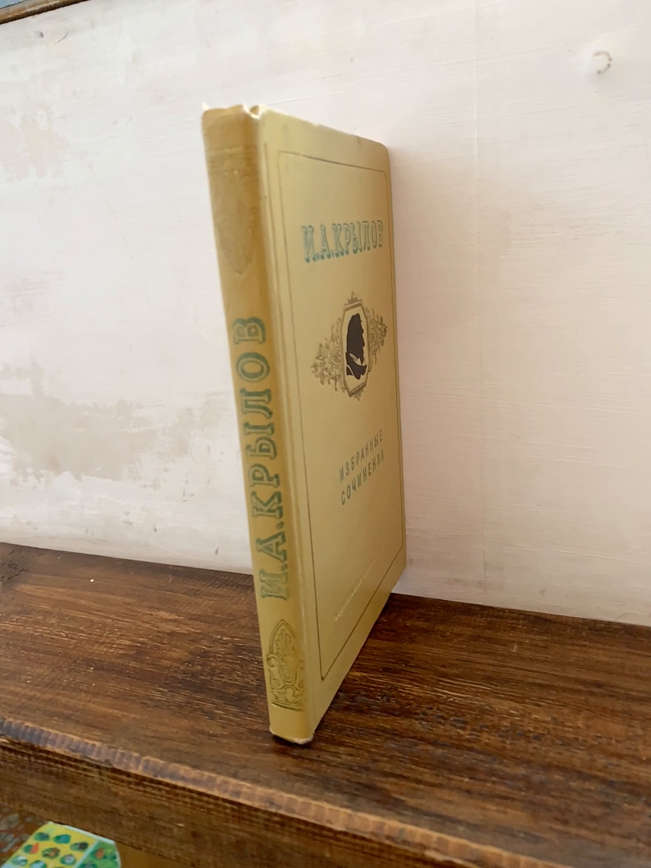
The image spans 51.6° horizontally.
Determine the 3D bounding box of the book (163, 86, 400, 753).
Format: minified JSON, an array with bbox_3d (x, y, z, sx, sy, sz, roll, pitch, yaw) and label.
[{"bbox_3d":[-0.003,-0.010,0.263,0.020,0.205,0.132,2,16,22],"label":"book"}]
